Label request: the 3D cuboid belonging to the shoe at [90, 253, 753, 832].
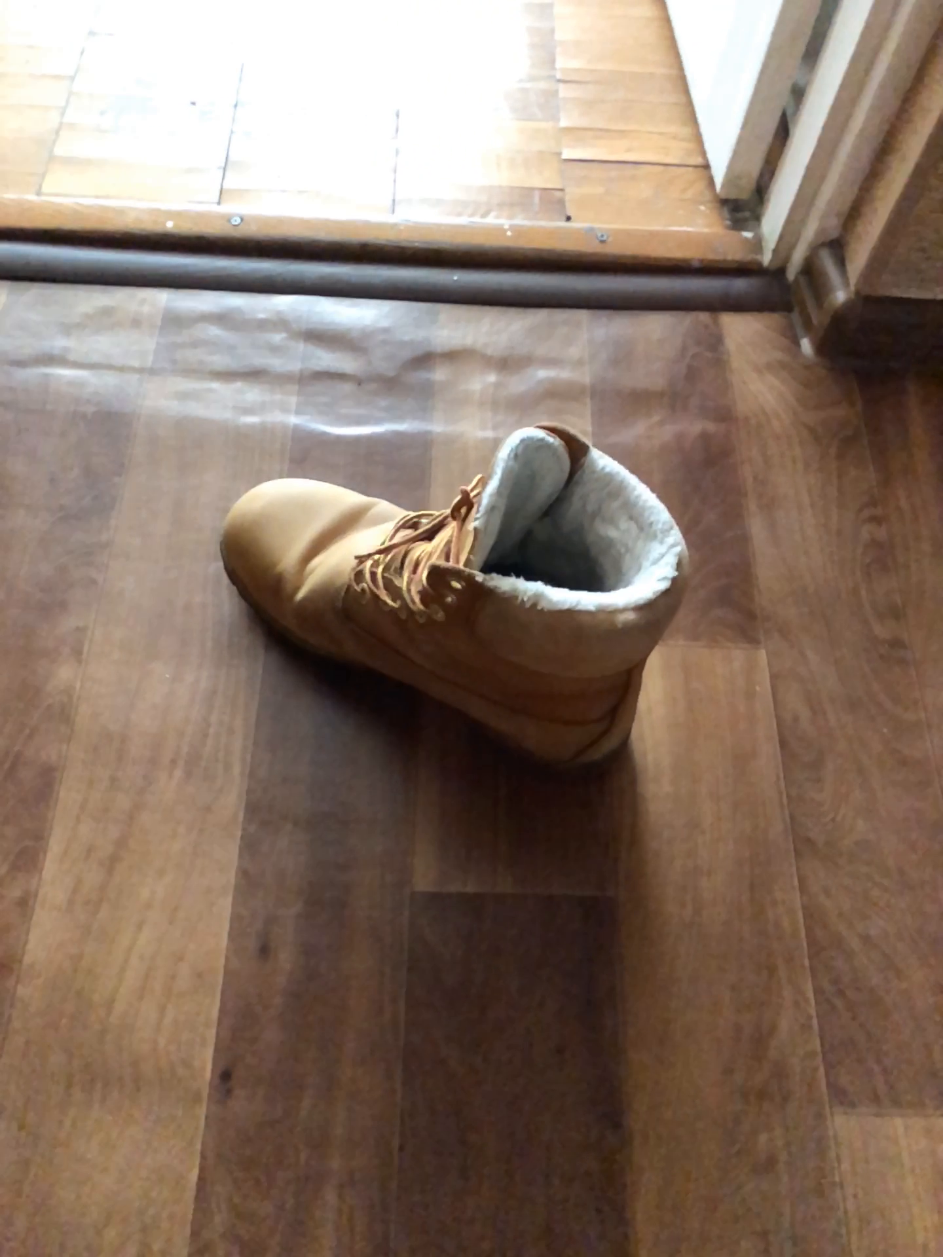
[{"bbox_3d":[-0.029,-0.040,0.564,0.290,0.179,0.120,29,63,11],"label":"shoe"}]
